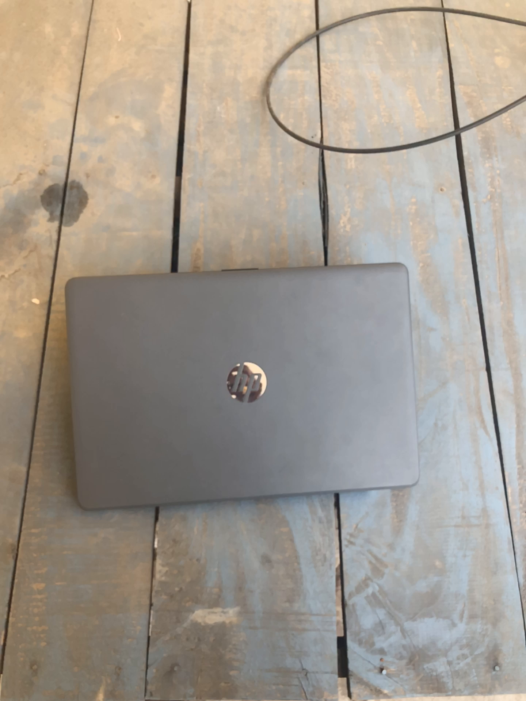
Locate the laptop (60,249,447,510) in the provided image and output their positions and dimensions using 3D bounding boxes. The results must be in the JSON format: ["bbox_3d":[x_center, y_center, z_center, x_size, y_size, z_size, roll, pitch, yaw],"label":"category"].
[{"bbox_3d":[-0.016,0.030,0.627,0.361,0.096,0.243,-3,70,-3],"label":"laptop"}]
